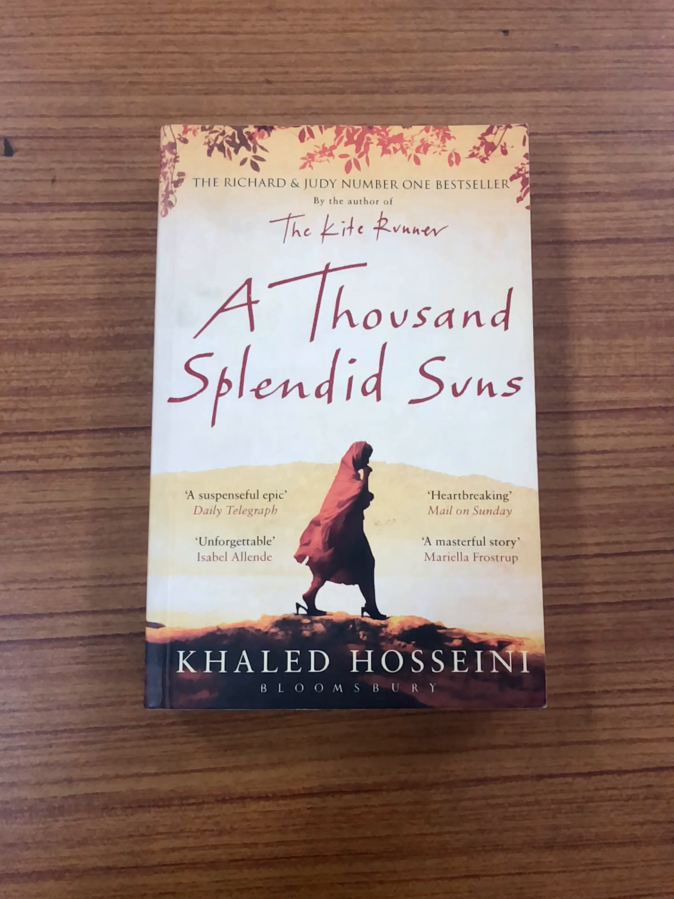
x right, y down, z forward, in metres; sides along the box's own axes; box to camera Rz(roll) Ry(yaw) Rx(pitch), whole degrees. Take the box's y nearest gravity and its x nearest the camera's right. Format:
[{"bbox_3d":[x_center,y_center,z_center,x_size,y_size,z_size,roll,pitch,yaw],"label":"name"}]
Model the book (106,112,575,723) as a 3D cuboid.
[{"bbox_3d":[0.001,-0.012,0.249,0.140,0.030,0.190,0,84,-2],"label":"book"}]
